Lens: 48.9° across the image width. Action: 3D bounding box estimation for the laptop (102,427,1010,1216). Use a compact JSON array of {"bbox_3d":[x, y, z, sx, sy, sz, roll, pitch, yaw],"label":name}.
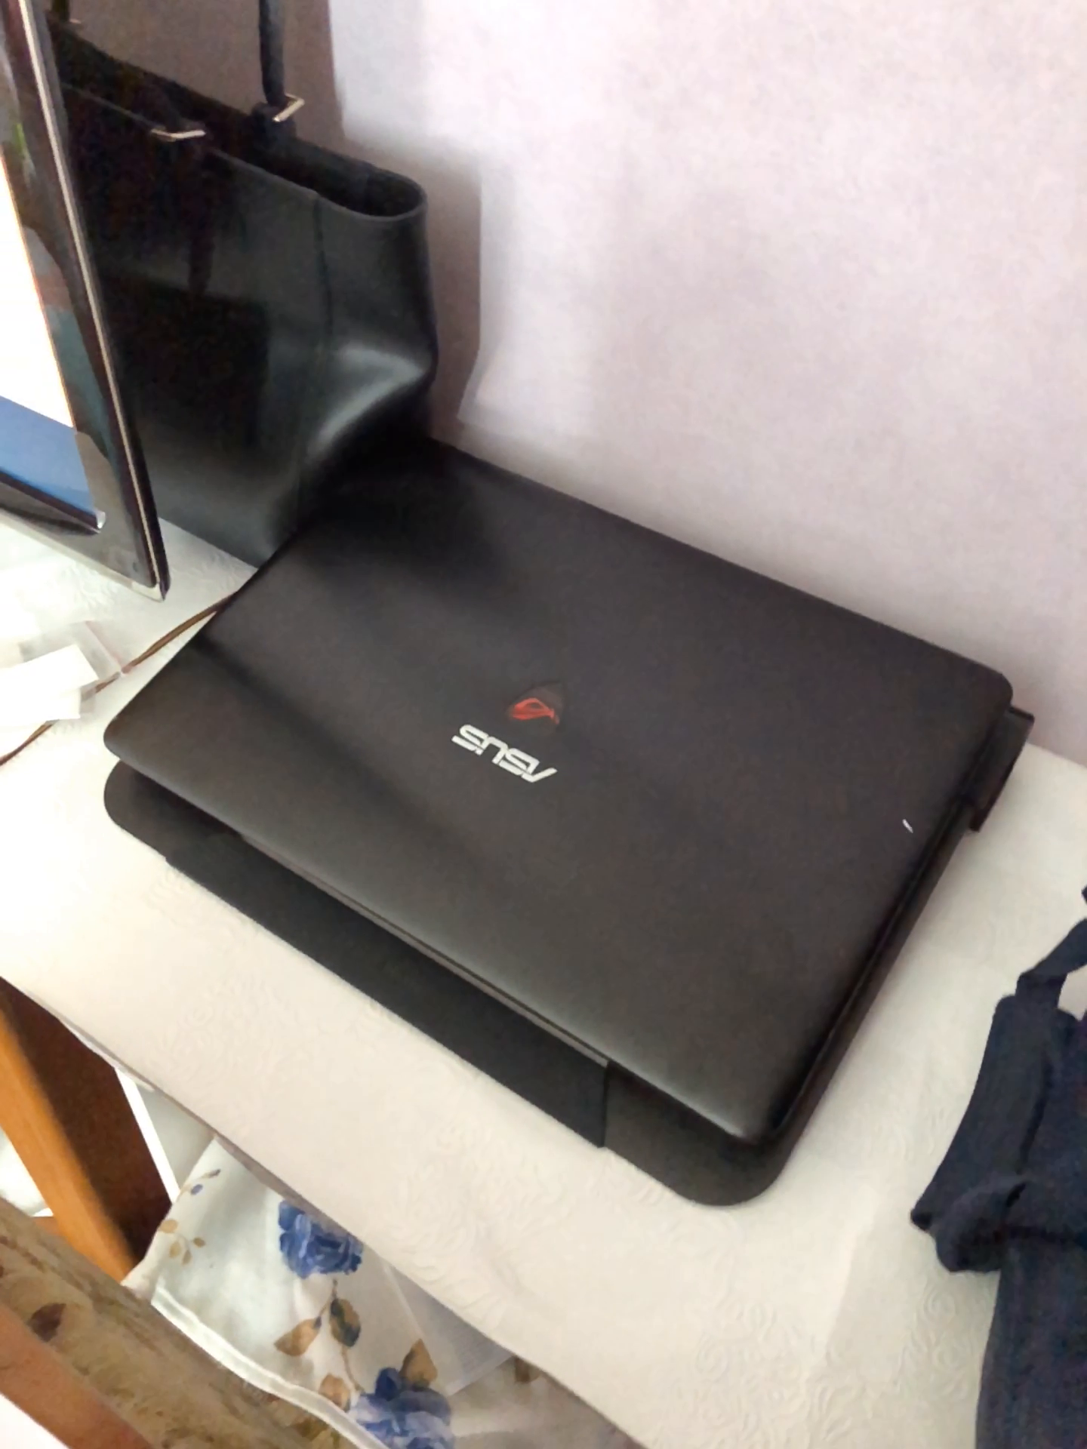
[{"bbox_3d":[-0.002,0.012,0.632,0.395,0.060,0.267,26,61,23],"label":"laptop"}]
